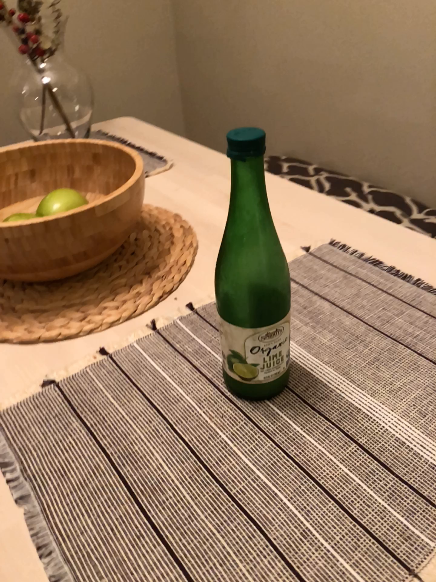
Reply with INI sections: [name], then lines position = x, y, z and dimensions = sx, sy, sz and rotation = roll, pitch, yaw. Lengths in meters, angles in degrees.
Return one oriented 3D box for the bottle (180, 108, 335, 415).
[bottle]
position = 0.033, -0.018, 0.406
dimensions = 0.080, 0.236, 0.081
rotation = -3, 35, 2
